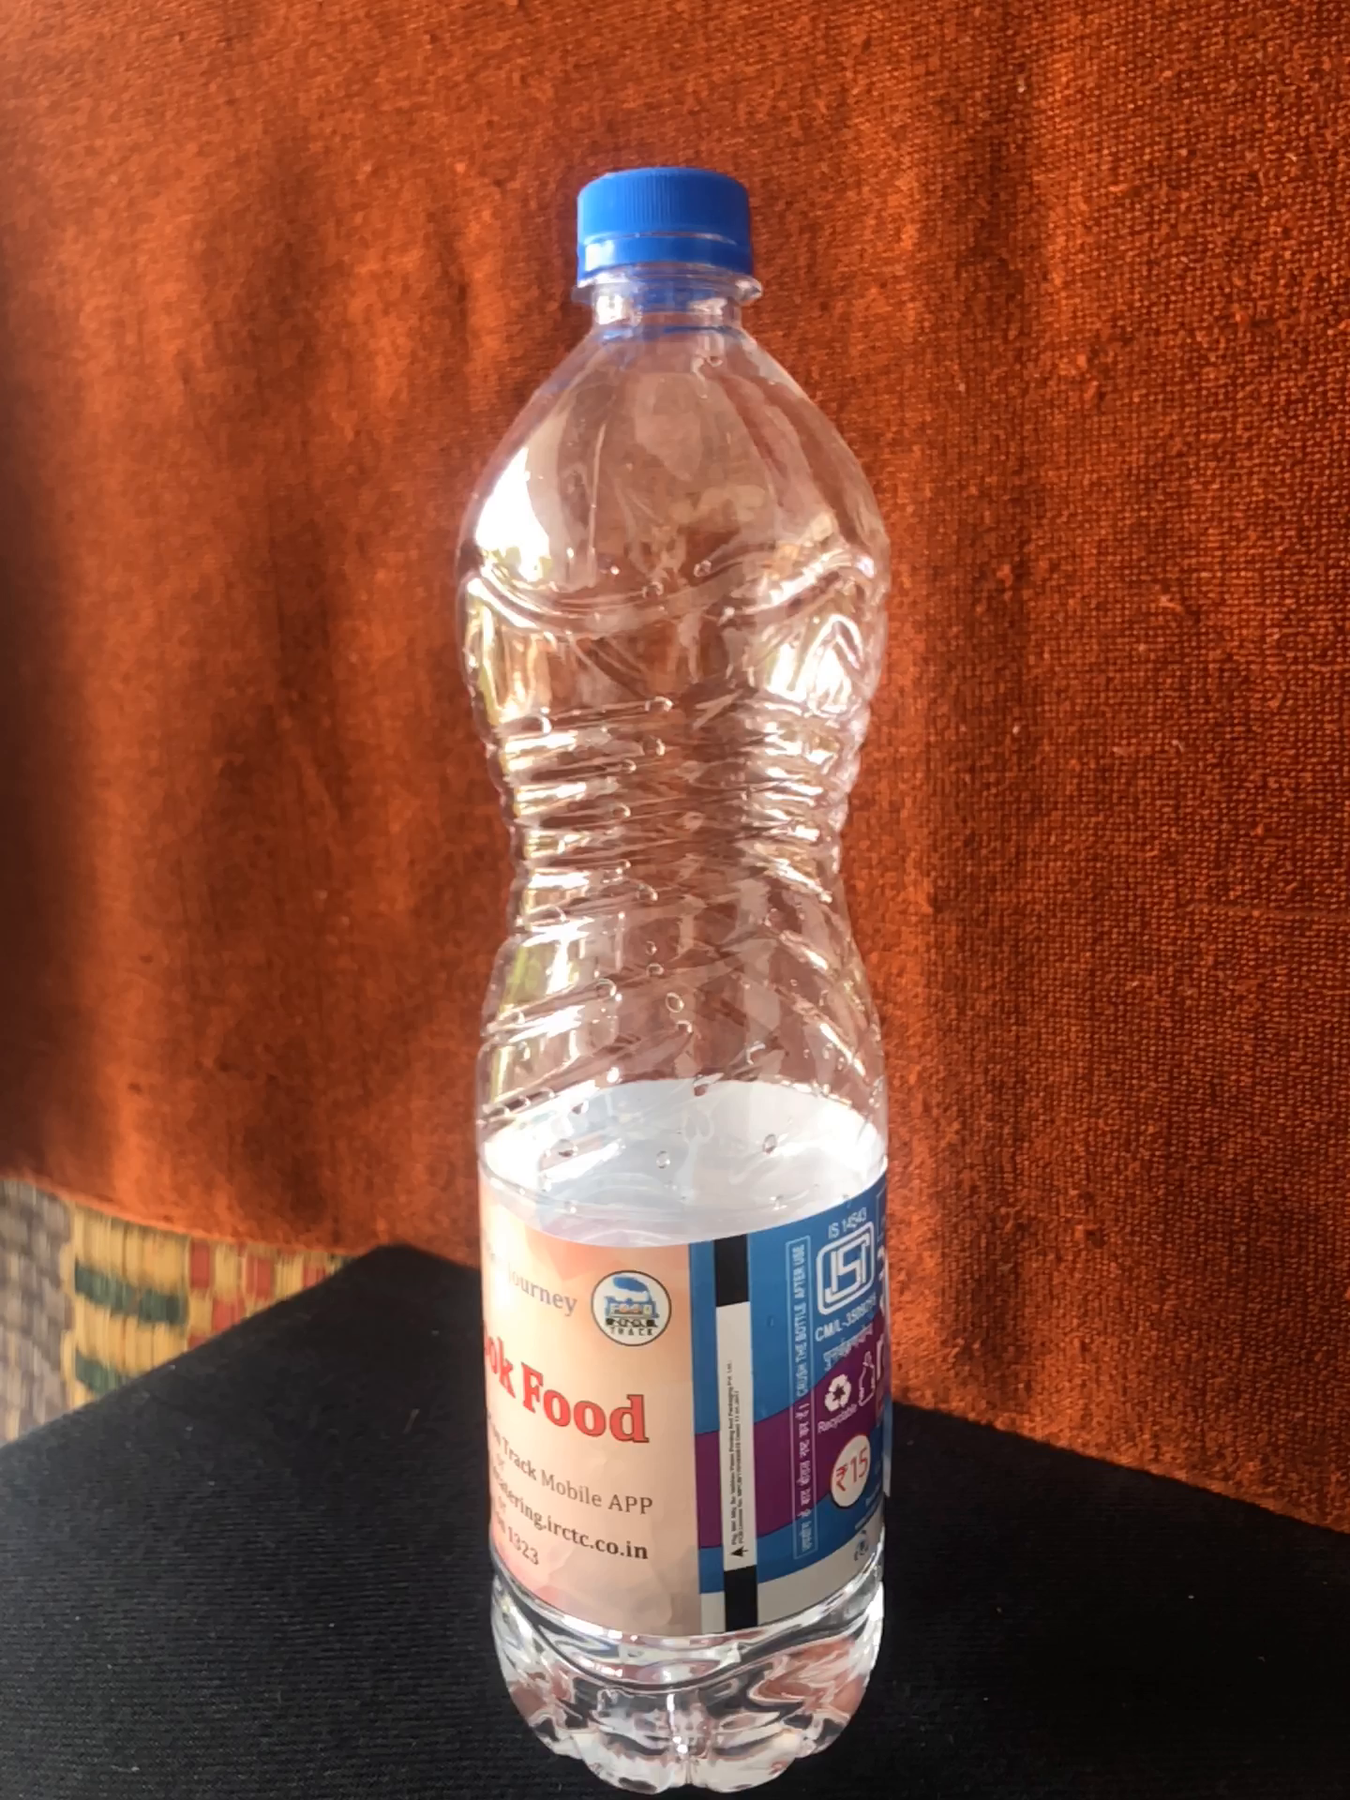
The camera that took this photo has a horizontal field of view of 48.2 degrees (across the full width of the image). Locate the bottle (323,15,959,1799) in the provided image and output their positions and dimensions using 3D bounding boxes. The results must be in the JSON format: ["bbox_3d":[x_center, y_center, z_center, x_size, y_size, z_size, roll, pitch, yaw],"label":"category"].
[{"bbox_3d":[-0.008,0.016,0.268,0.070,0.279,0.090,-7,14,-24],"label":"bottle"}]
